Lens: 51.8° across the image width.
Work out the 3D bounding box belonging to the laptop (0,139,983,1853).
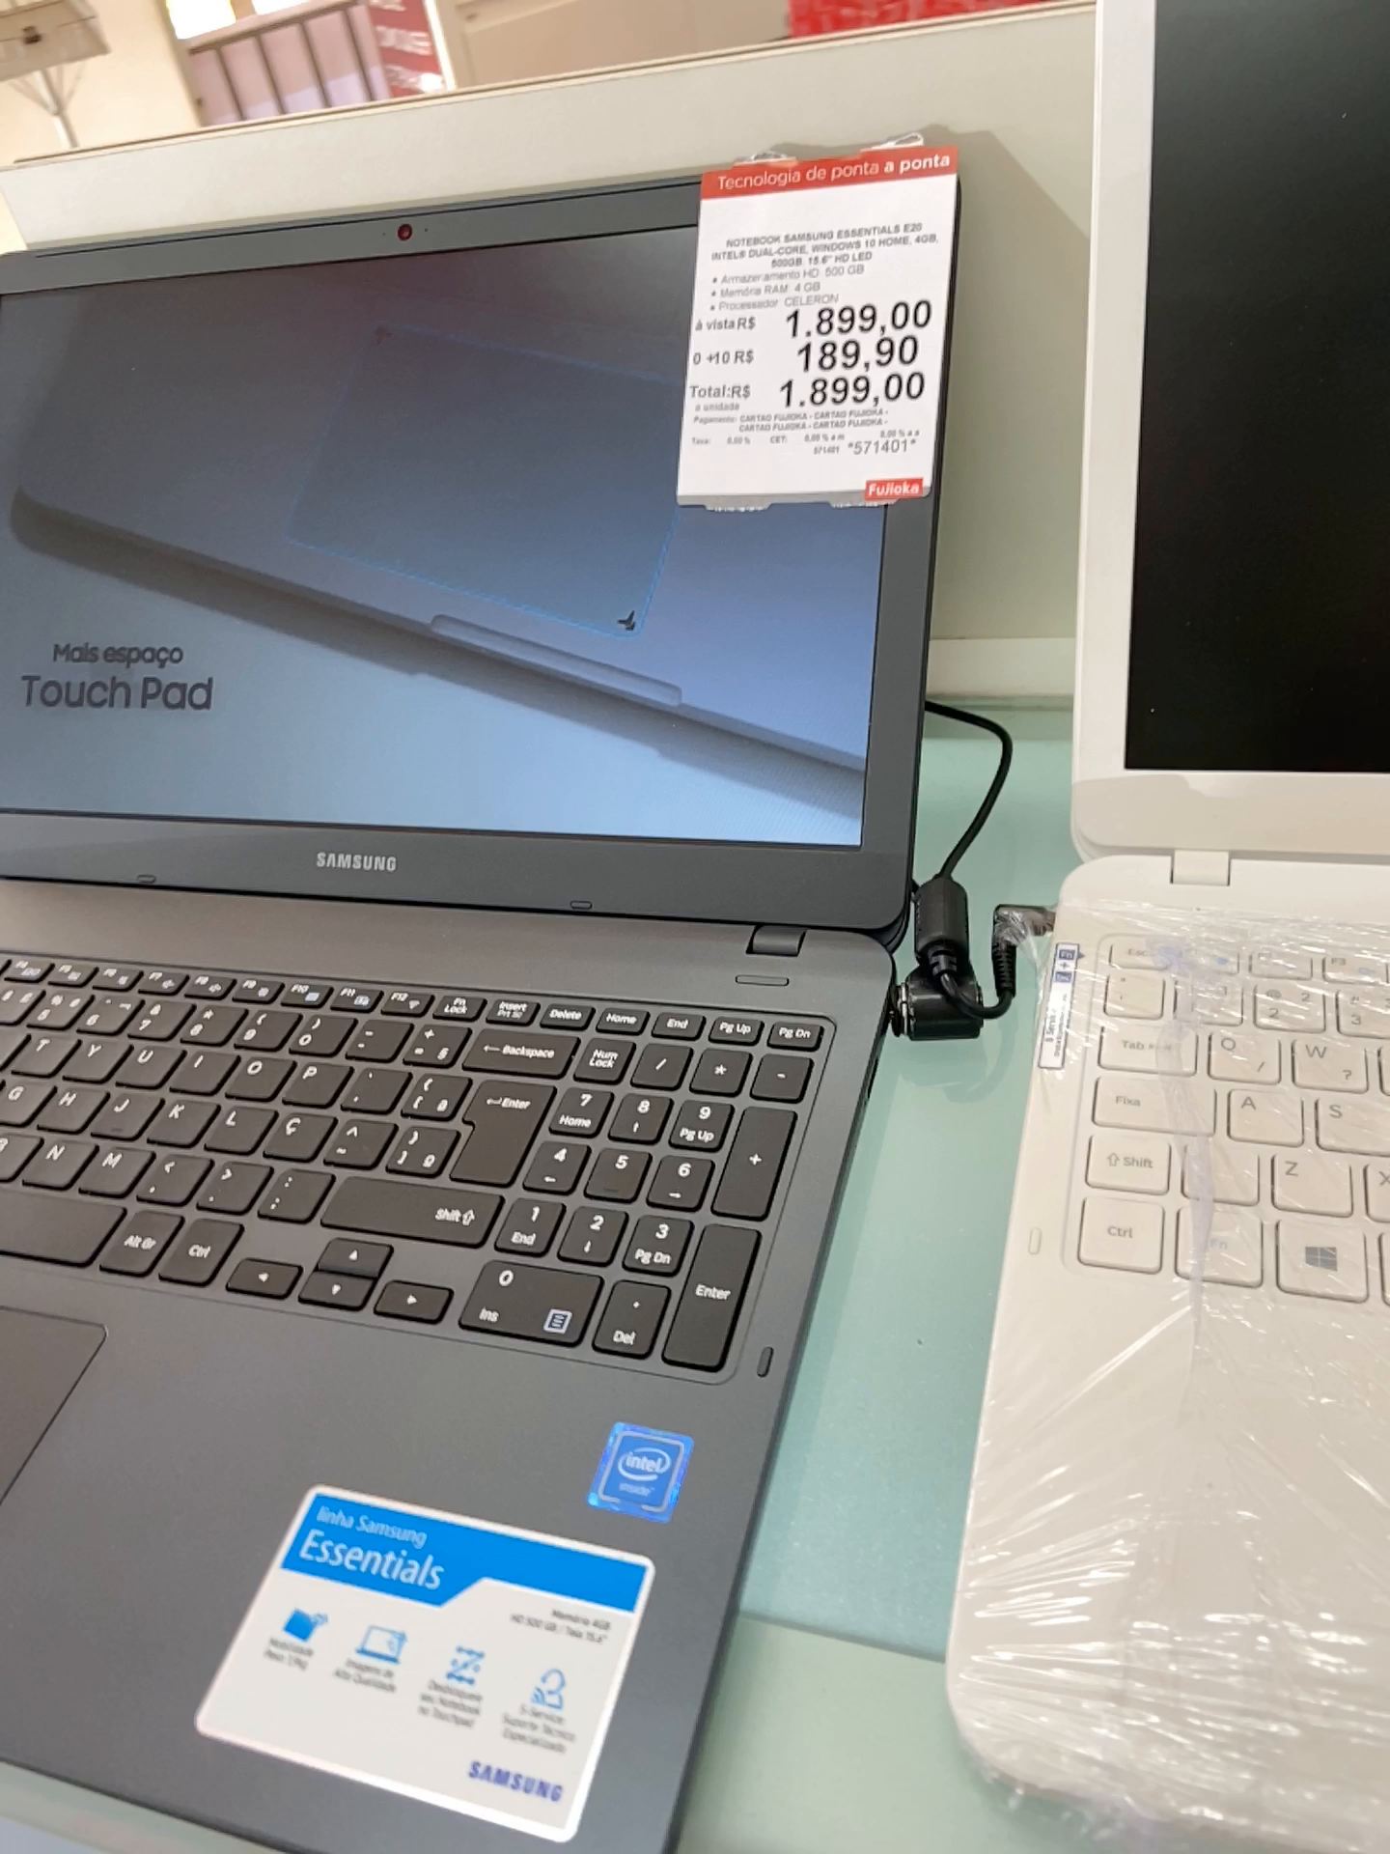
[{"bbox_3d":[-0.142,-0.042,0.390,0.367,0.157,0.413,3,43,20],"label":"laptop"}]
